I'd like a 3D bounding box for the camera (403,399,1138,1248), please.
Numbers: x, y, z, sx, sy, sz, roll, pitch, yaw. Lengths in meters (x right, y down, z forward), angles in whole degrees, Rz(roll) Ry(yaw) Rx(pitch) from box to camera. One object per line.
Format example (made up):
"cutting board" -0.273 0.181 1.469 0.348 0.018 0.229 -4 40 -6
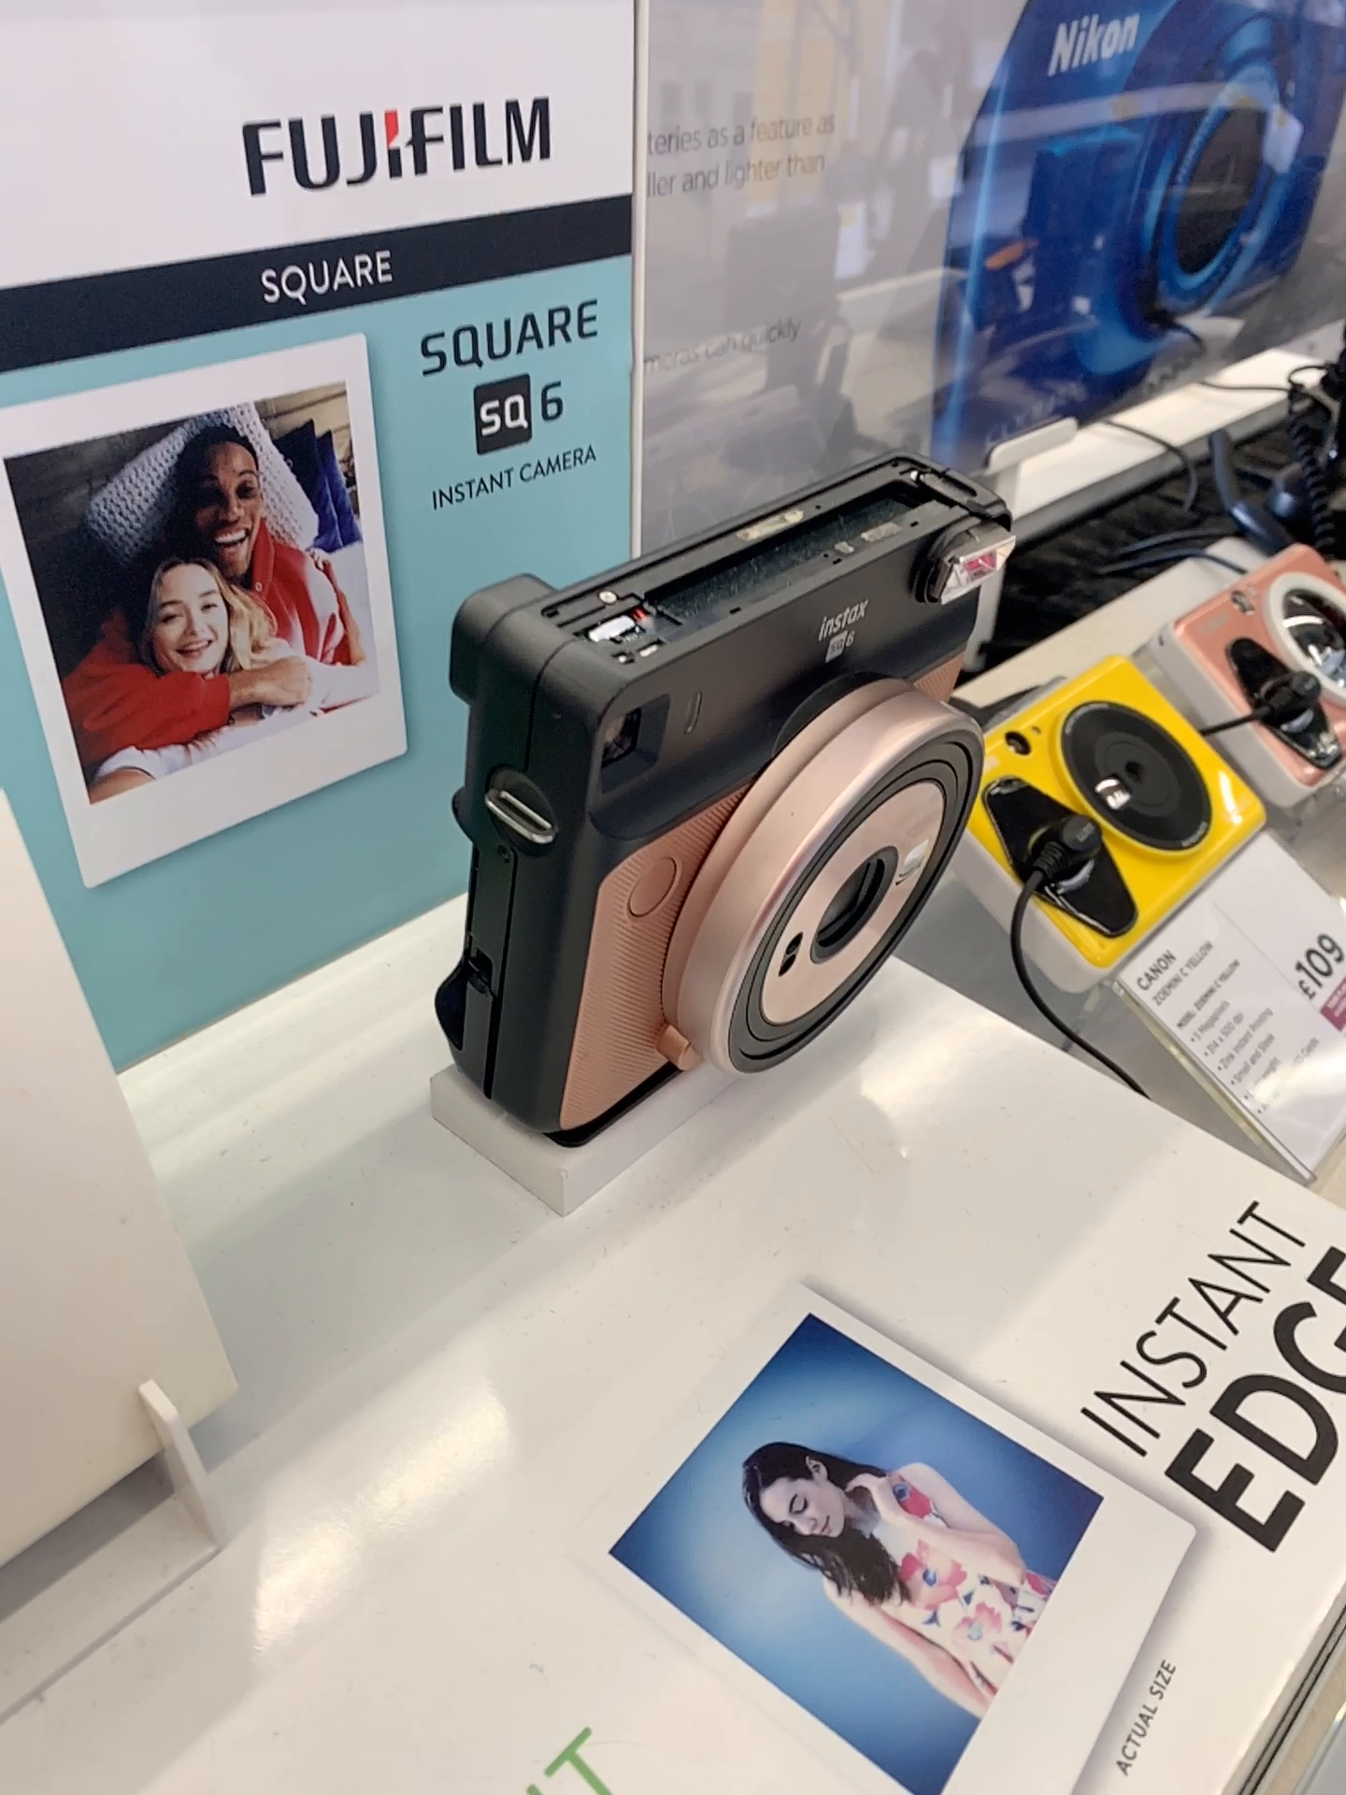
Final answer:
"camera" 0.018 -0.020 0.284 0.060 0.119 0.131 35 45 23
